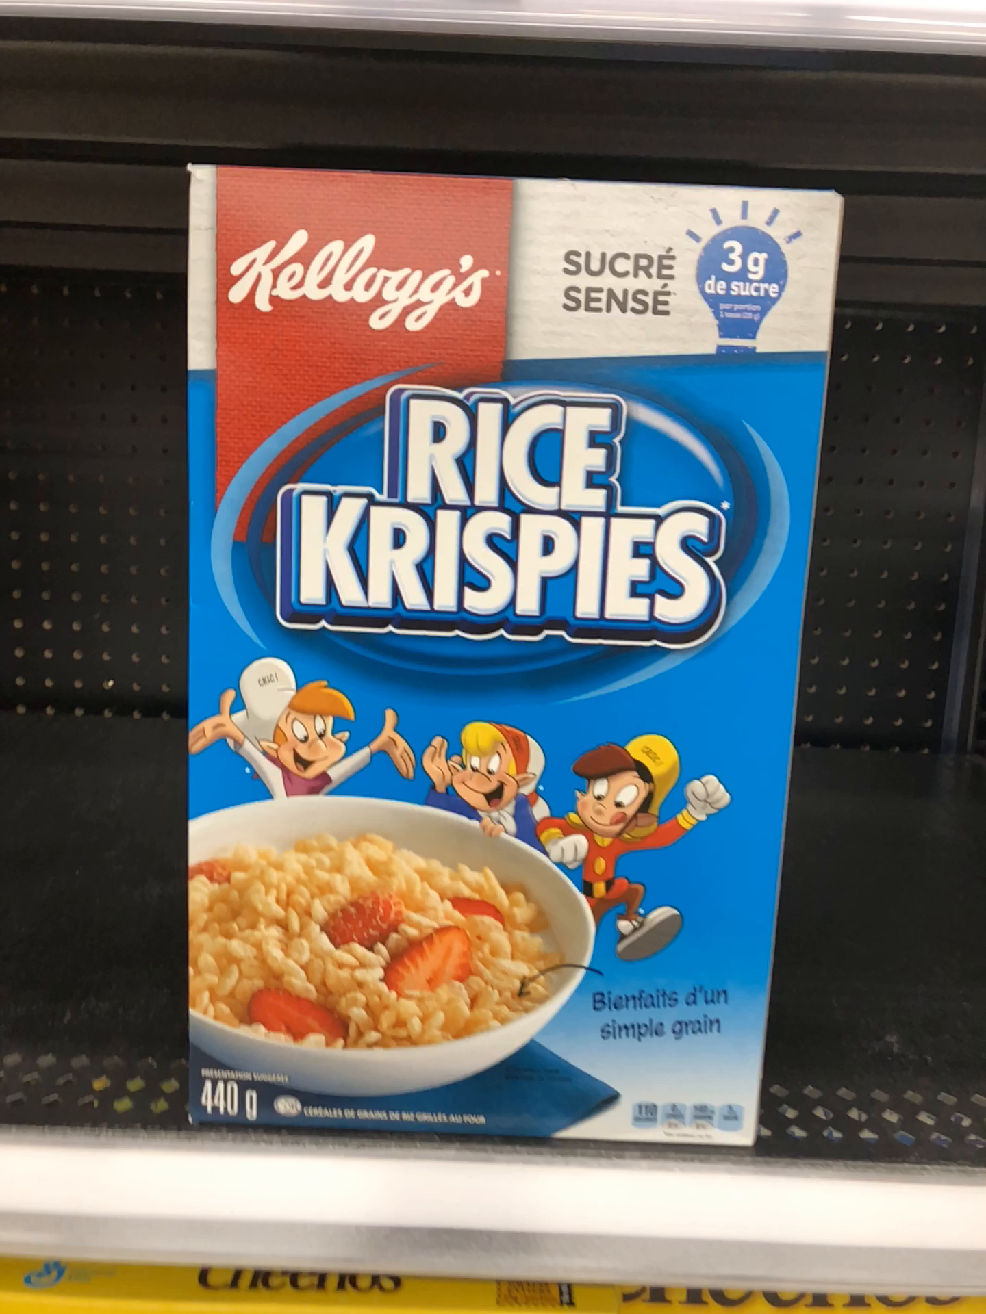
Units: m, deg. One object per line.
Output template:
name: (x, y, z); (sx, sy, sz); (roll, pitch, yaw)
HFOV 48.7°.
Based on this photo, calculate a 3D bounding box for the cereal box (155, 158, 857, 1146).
cereal box: (-0.002, 0.002, 0.374); (0.200, 0.299, 0.080); (2, 10, 1)
